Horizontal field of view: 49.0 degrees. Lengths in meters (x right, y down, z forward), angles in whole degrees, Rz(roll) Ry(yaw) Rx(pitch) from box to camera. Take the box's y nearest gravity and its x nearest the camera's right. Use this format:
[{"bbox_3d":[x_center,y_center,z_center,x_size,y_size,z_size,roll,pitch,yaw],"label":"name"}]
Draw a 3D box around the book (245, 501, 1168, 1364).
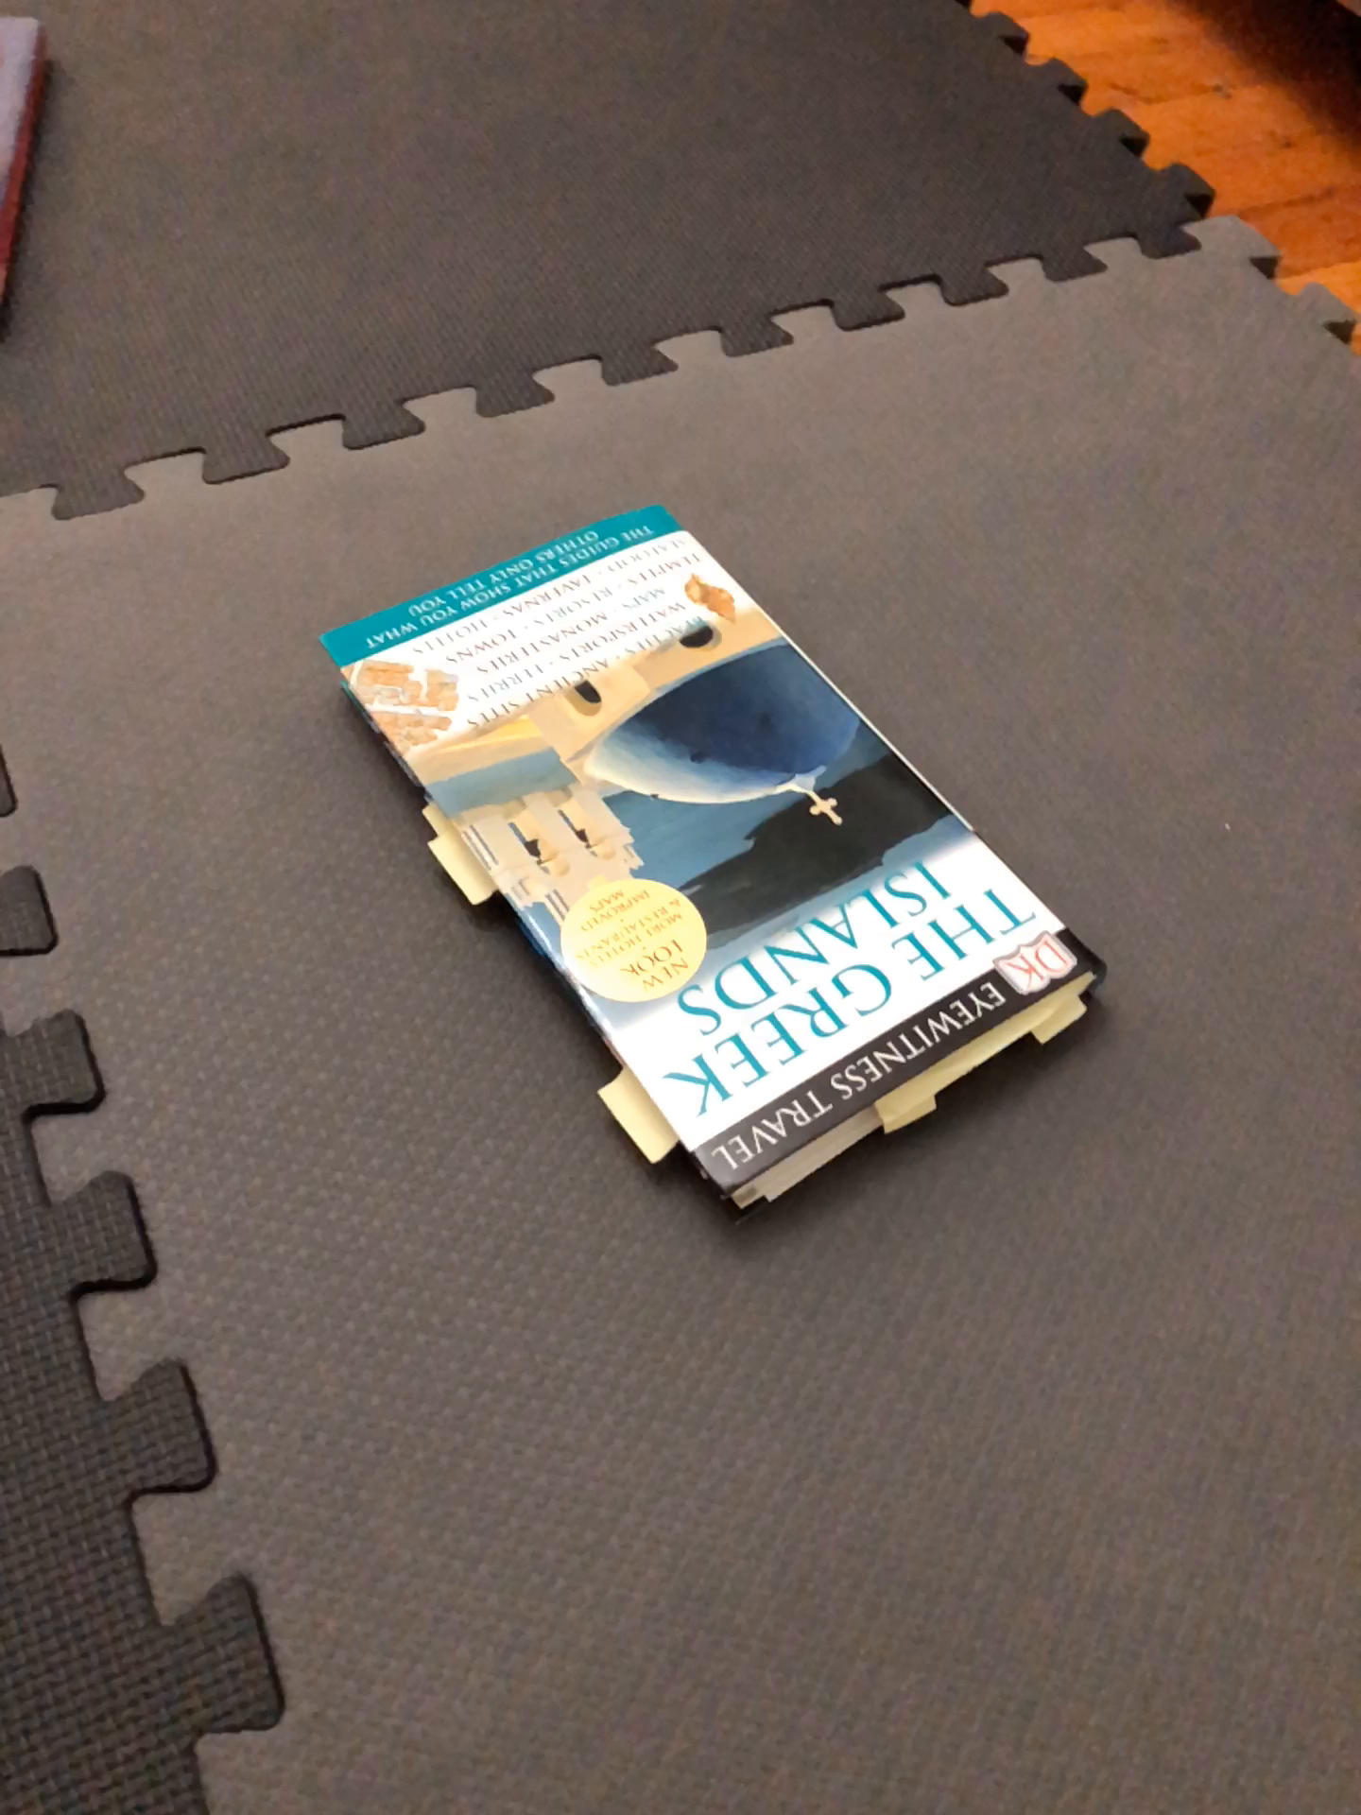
[{"bbox_3d":[-0.002,-0.014,0.441,0.160,0.030,0.241,-26,60,-22],"label":"book"}]
